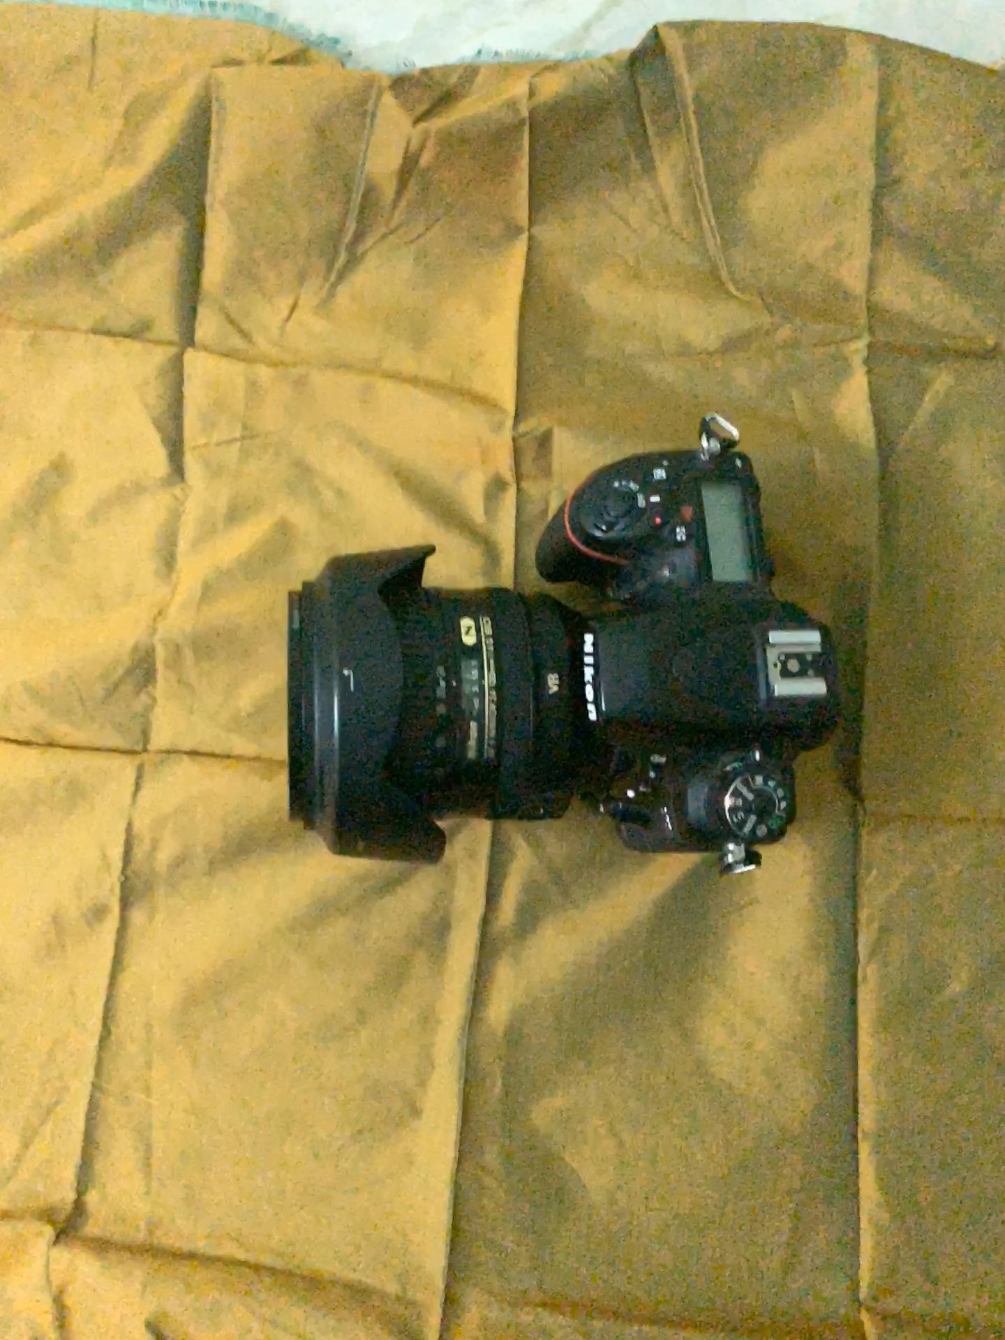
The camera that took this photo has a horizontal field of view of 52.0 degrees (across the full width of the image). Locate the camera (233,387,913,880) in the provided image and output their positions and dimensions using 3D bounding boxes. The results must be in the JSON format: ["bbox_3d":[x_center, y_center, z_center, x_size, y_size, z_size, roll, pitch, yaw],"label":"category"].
[{"bbox_3d":[0.017,-0.001,0.348,0.192,0.100,0.140,2,79,-8],"label":"camera"}]
